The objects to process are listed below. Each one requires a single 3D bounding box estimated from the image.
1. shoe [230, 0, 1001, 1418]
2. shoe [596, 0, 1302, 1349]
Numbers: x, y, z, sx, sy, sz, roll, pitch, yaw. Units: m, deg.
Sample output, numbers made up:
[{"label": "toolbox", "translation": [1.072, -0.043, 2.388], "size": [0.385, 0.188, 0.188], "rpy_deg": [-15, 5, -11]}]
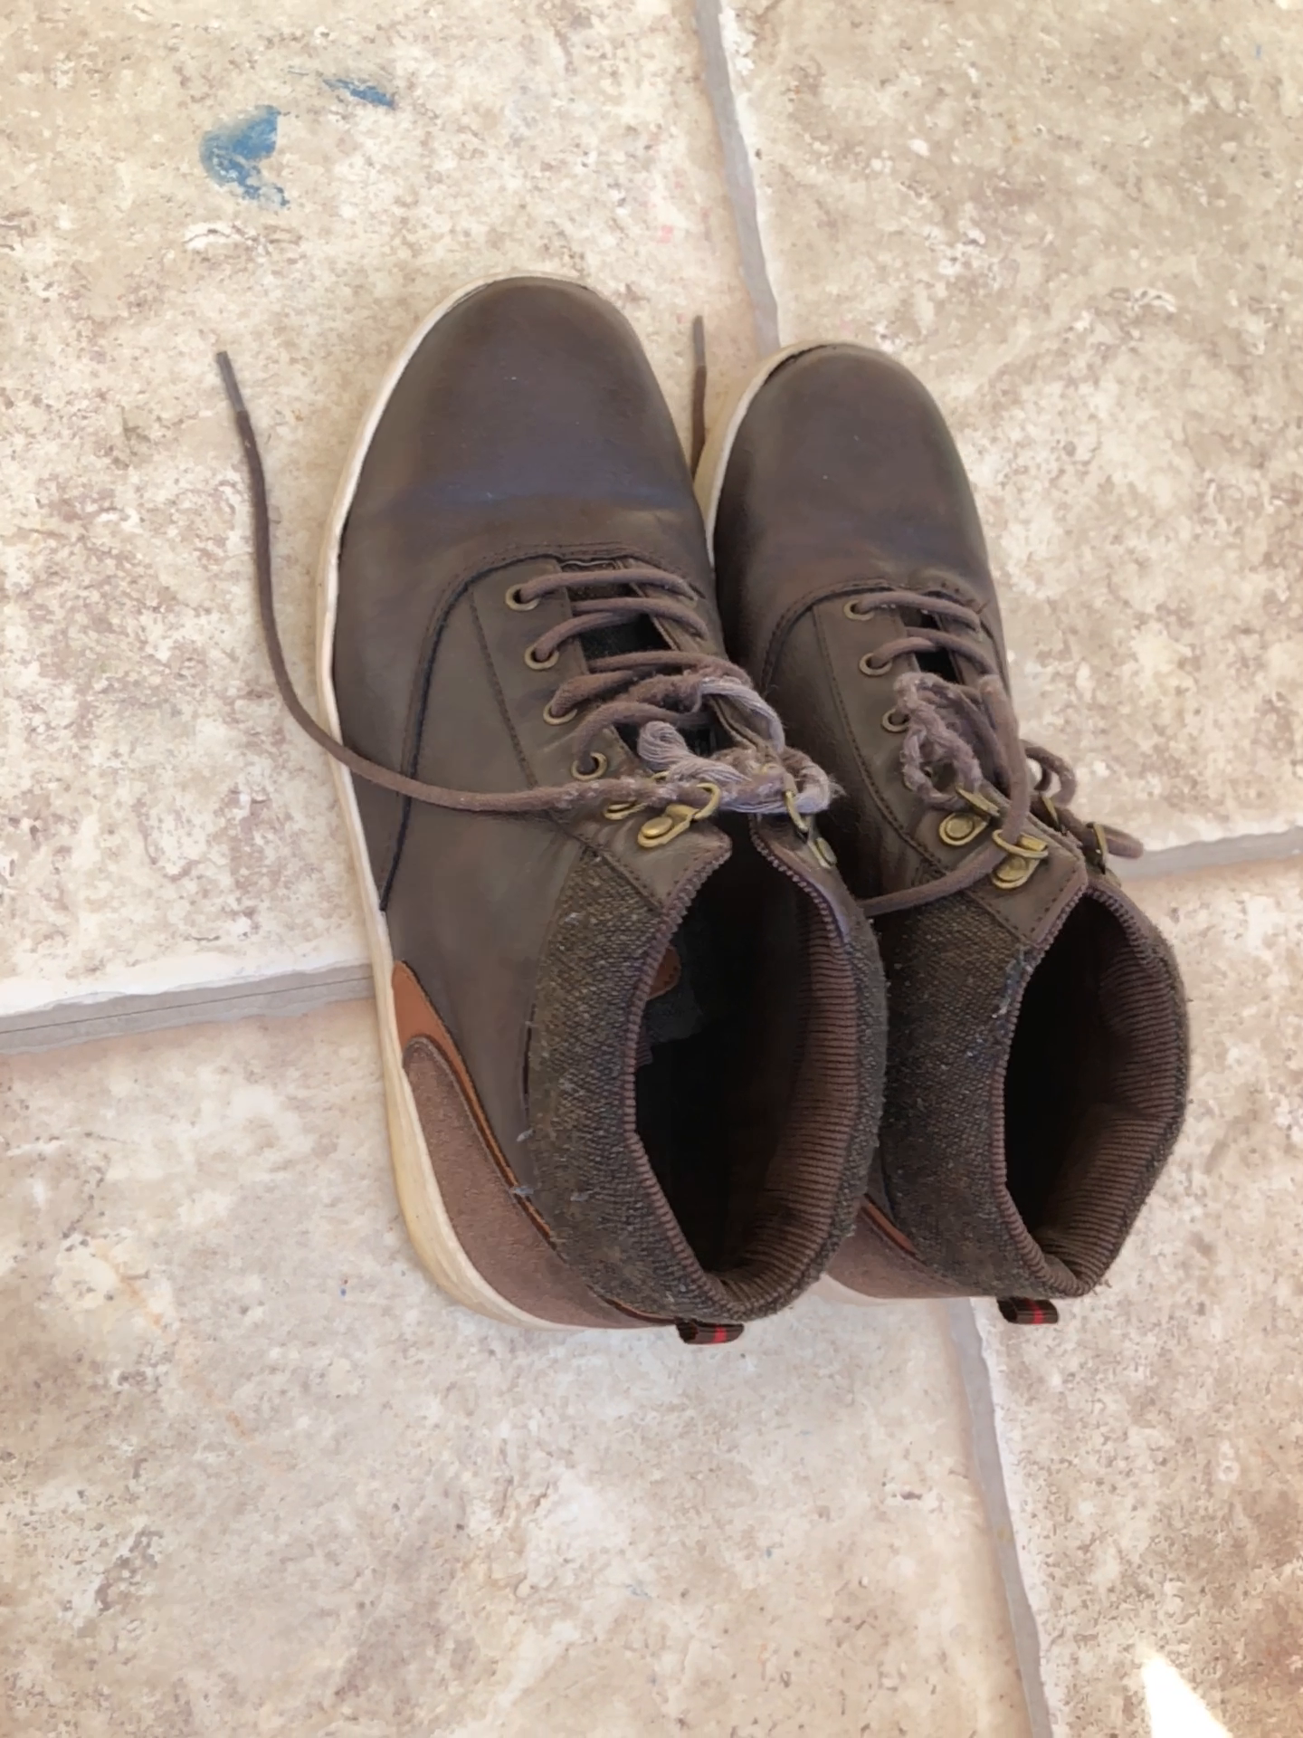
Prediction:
[{"label": "shoe", "translation": [-0.027, -0.046, 0.351], "size": [0.110, 0.149, 0.300], "rpy_deg": [-3, 81, -23]}, {"label": "shoe", "translation": [0.074, -0.044, 0.391], "size": [0.110, 0.149, 0.300], "rpy_deg": [-1, 80, -23]}]
